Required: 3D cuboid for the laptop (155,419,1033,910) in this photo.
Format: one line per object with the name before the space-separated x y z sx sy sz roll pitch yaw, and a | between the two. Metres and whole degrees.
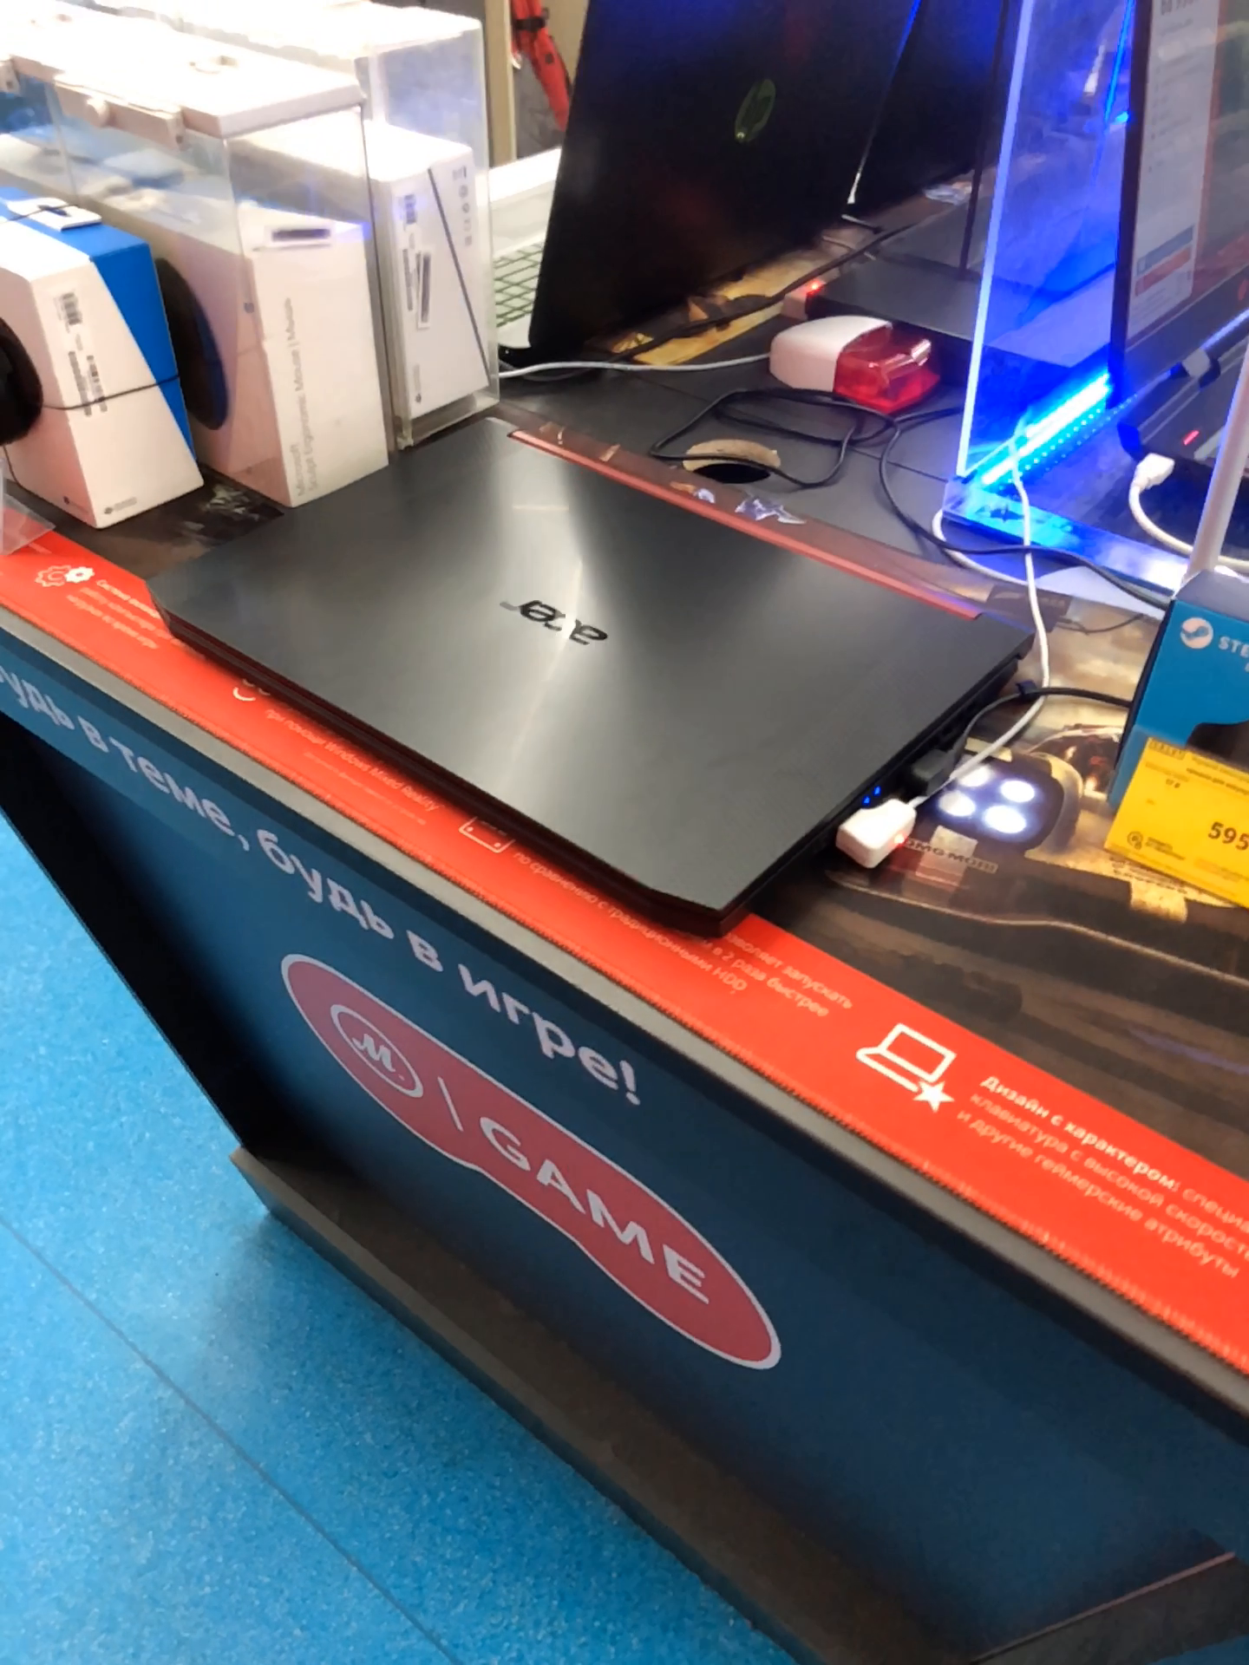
laptop | -0.019 -0.109 0.666 0.351 0.005 0.243 29 49 29
